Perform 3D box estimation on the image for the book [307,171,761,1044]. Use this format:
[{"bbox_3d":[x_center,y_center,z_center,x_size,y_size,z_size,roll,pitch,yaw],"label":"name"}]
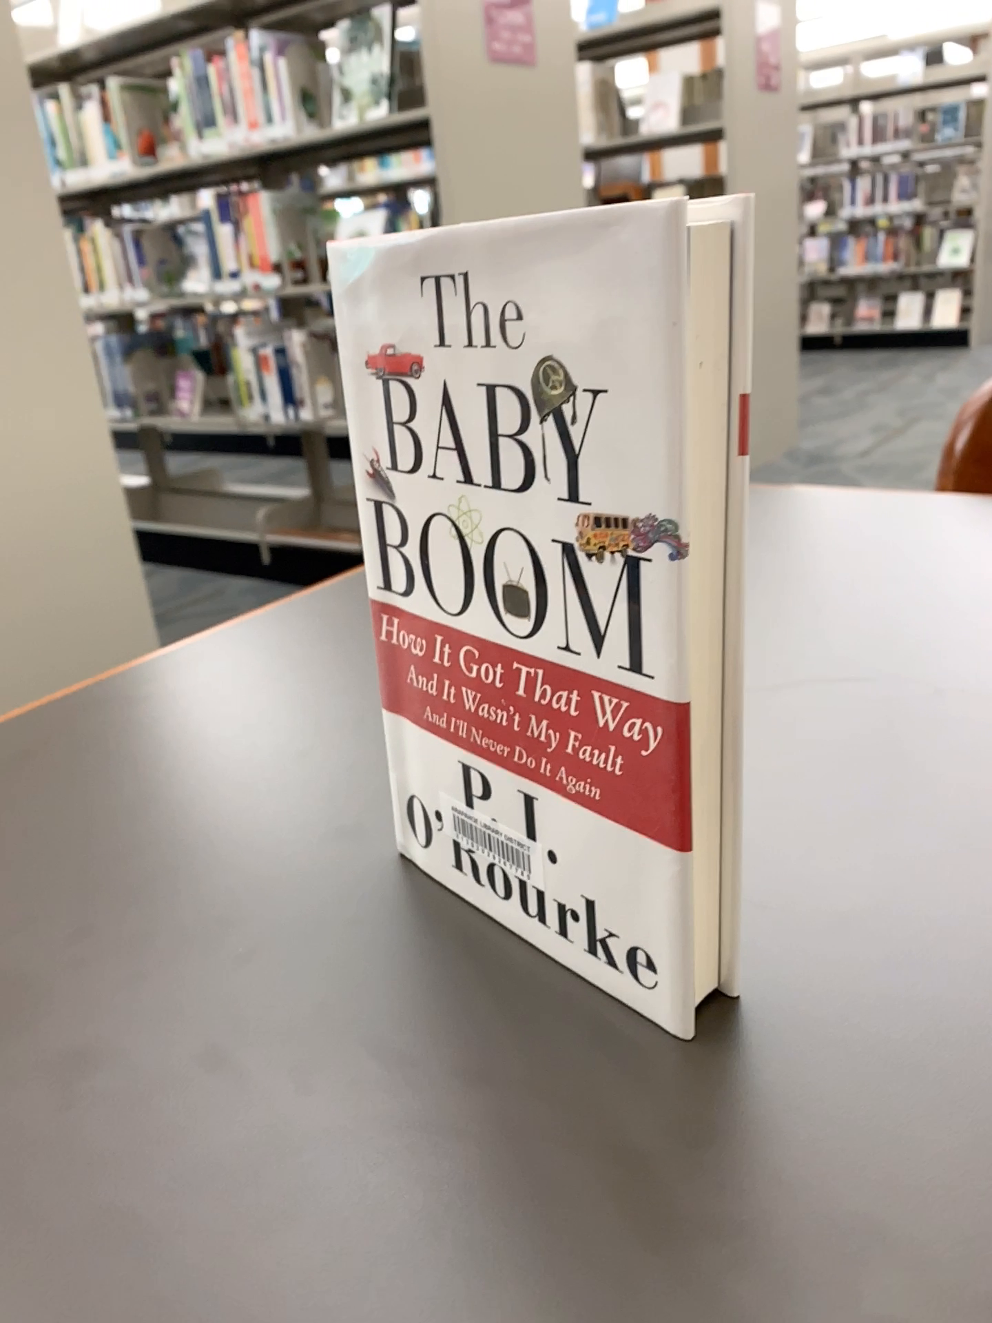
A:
[{"bbox_3d":[0.007,-0.019,0.330,0.030,0.231,0.160,-18,24,-36],"label":"book"}]
